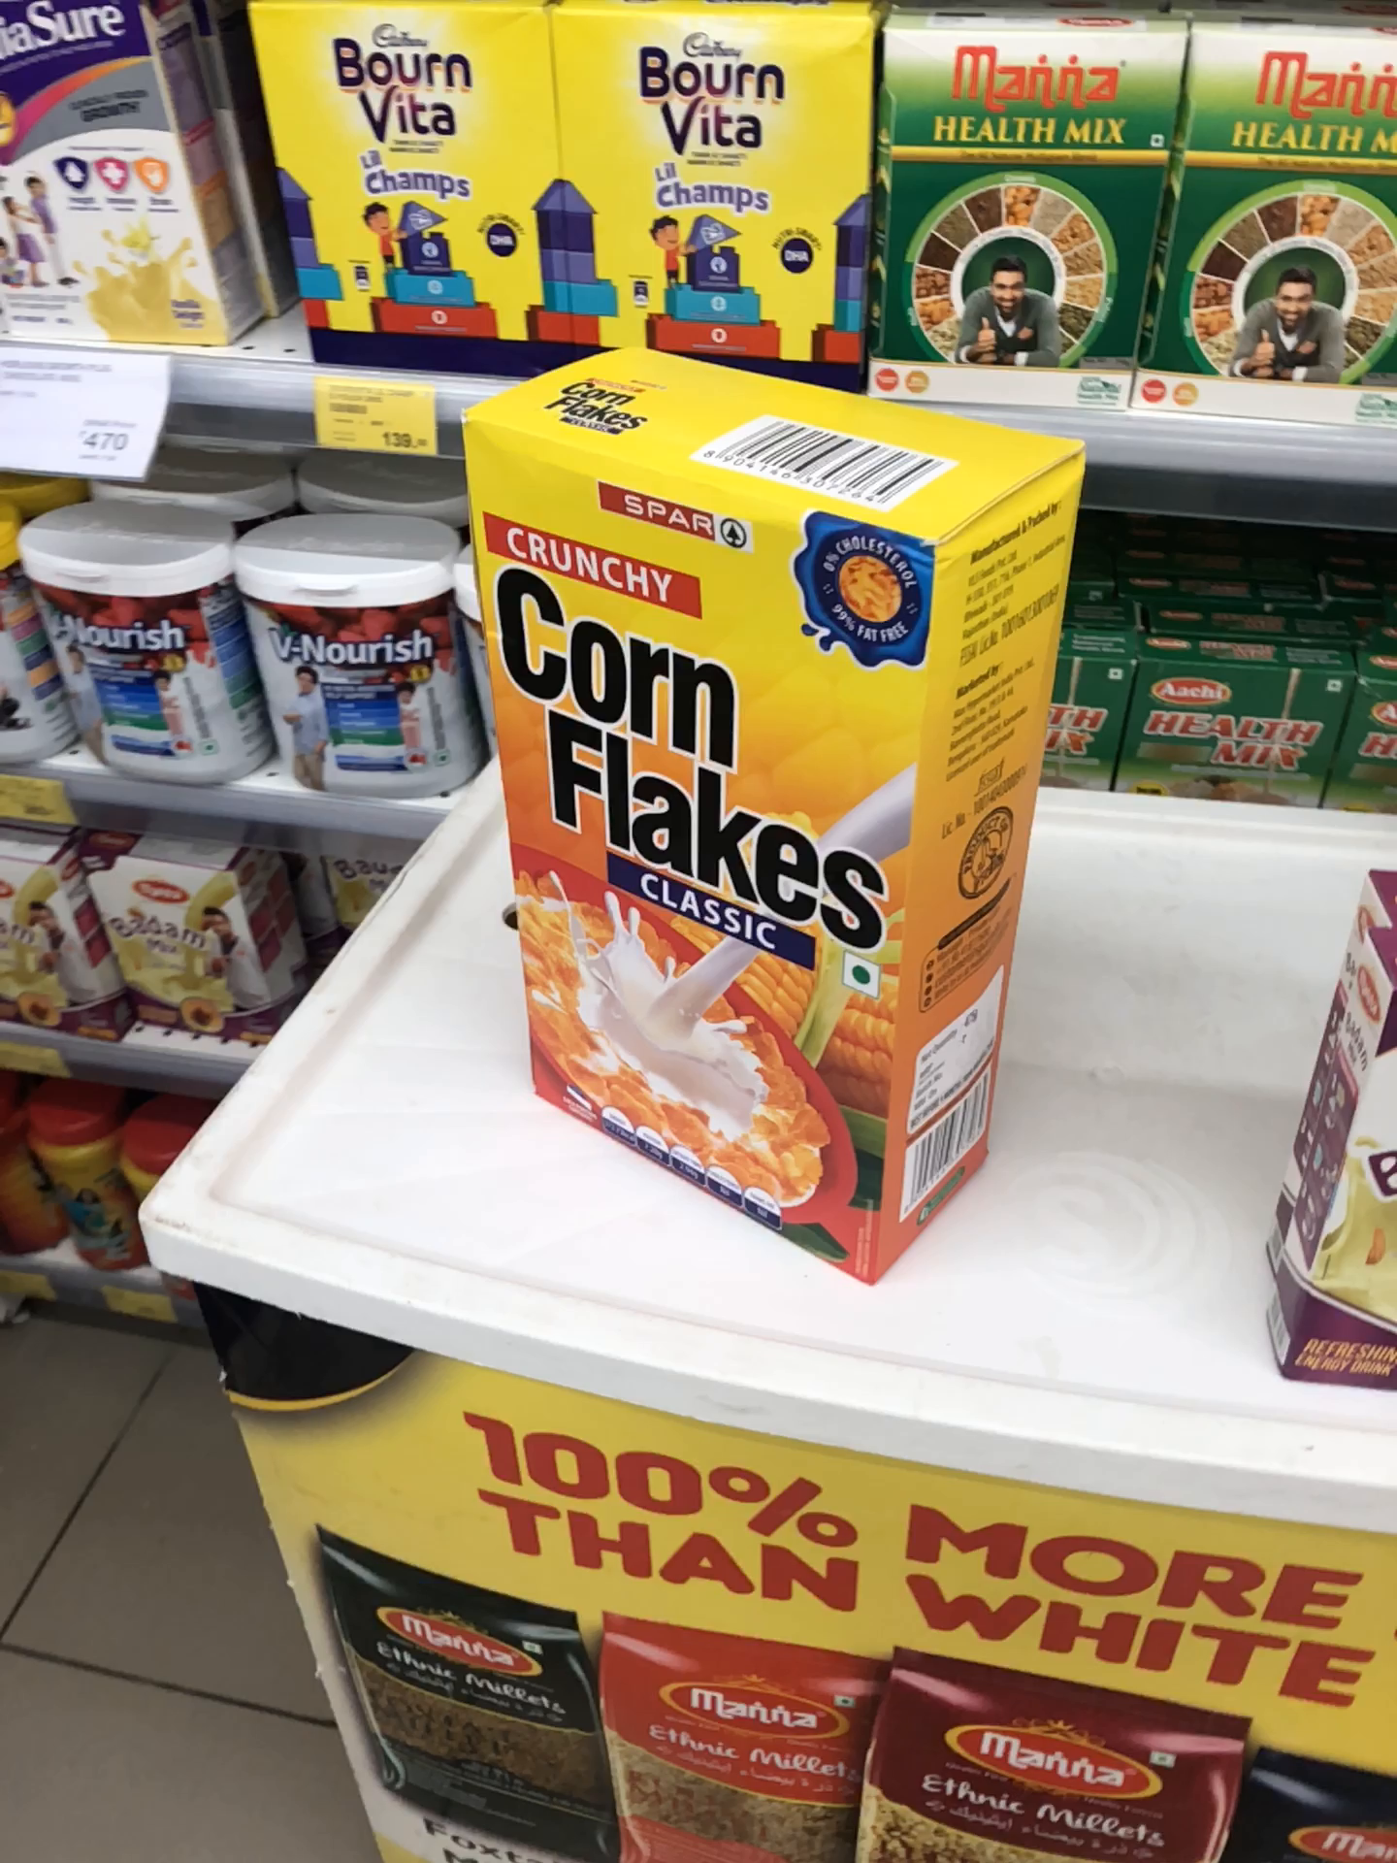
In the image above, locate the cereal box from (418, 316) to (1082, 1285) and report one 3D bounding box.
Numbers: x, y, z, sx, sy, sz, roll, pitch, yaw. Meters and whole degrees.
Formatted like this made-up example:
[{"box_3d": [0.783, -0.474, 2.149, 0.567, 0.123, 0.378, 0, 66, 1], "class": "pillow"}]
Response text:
[{"box_3d": [0.016, -0.044, 0.596, 0.201, 0.319, 0.090, 25, 45, 31], "class": "cereal box"}]
